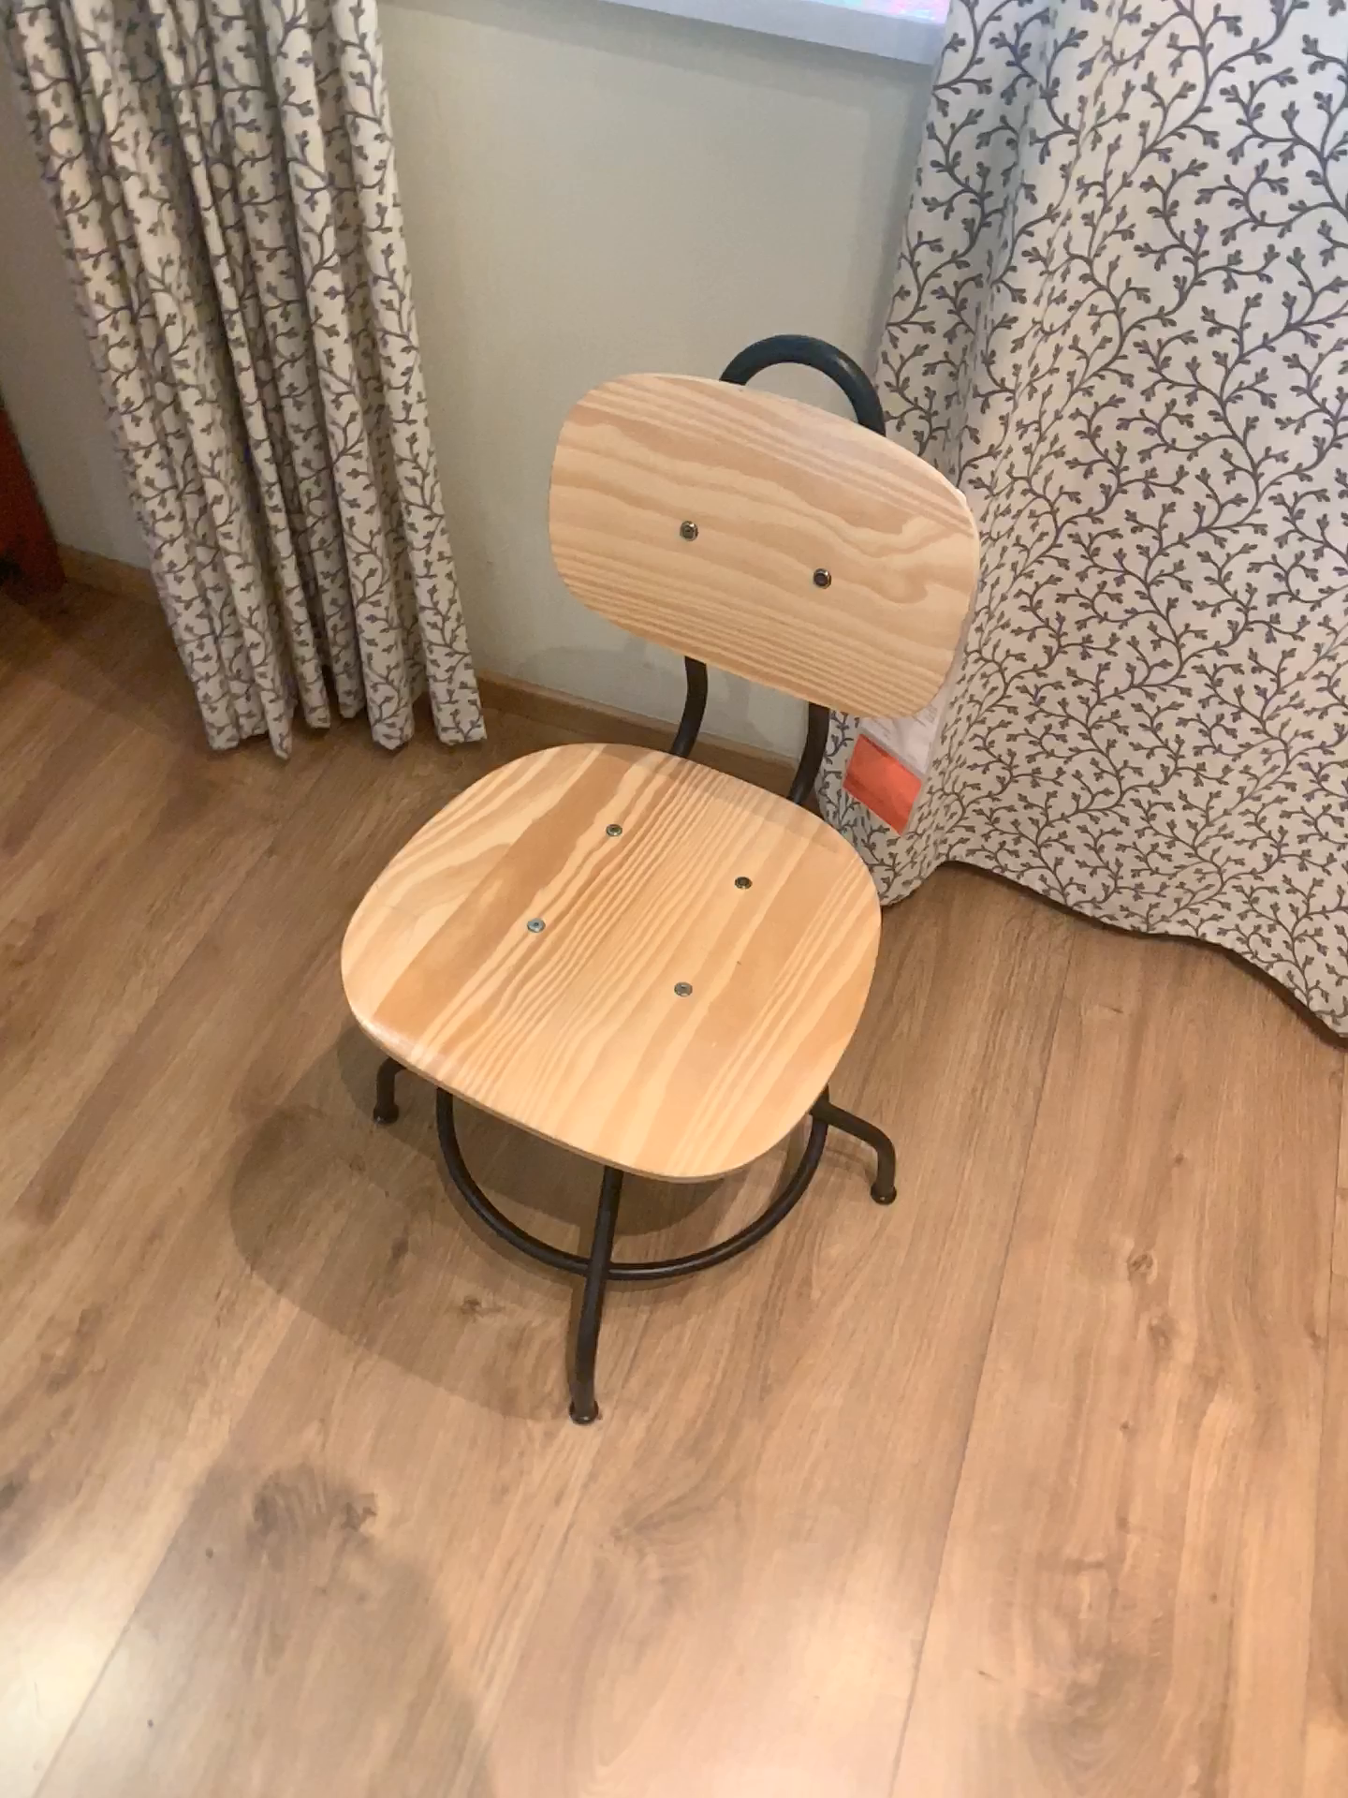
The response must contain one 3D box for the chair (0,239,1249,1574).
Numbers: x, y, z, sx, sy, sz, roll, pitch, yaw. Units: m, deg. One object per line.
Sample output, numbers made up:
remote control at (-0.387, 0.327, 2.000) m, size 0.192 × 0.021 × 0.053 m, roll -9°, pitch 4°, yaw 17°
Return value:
chair at (-0.019, 0.010, 1.070) m, size 0.560 × 0.648 × 0.621 m, roll 24°, pitch 54°, yaw 15°
